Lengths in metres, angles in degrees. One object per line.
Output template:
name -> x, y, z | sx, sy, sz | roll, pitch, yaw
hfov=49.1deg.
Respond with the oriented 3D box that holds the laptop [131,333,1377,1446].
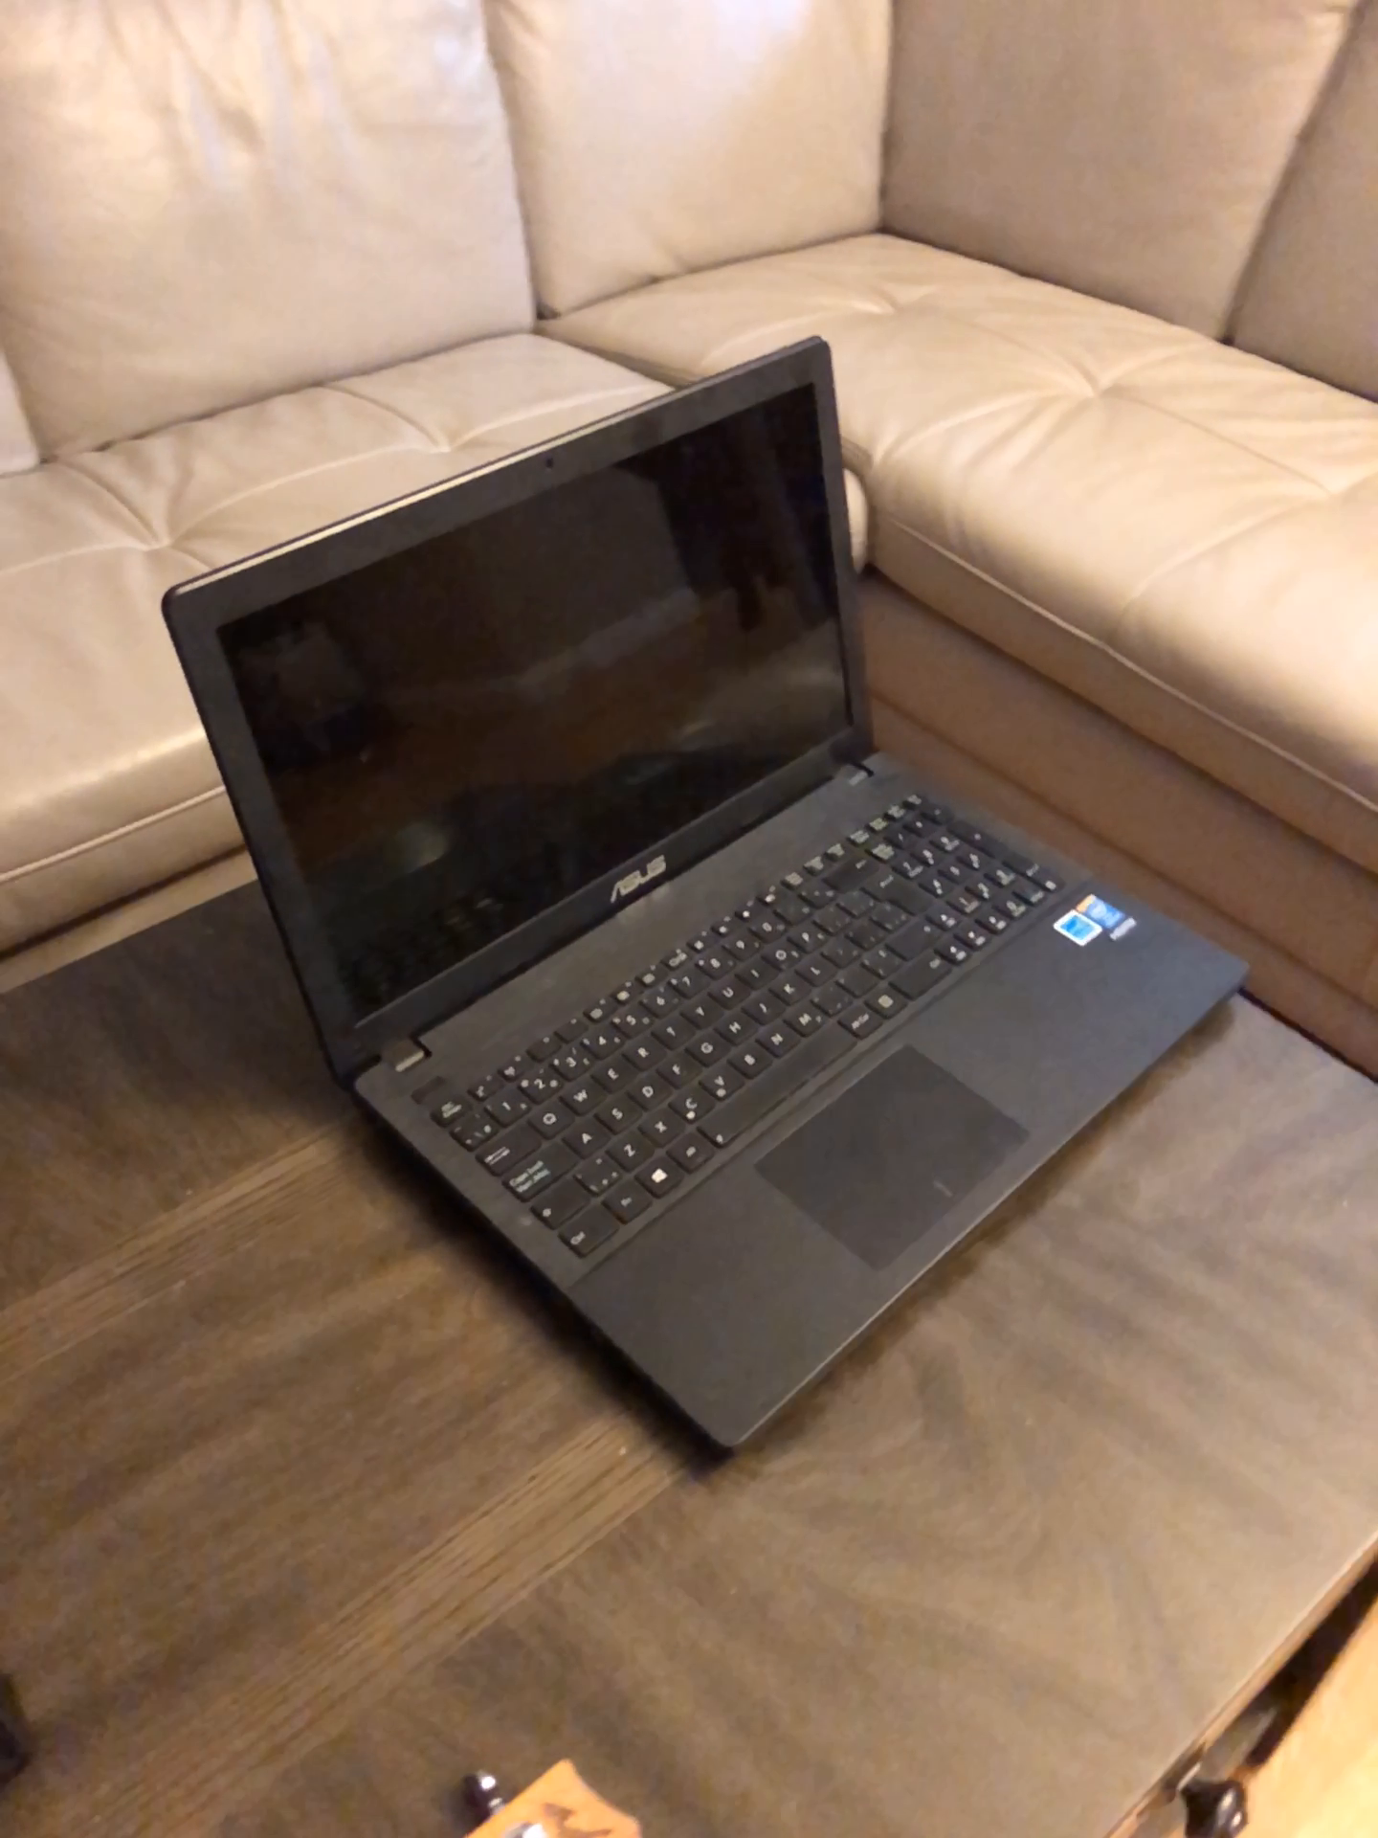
laptop -> 0.033, -0.049, 0.651 | 0.356, 0.216, 0.316 | -33, 54, -32
